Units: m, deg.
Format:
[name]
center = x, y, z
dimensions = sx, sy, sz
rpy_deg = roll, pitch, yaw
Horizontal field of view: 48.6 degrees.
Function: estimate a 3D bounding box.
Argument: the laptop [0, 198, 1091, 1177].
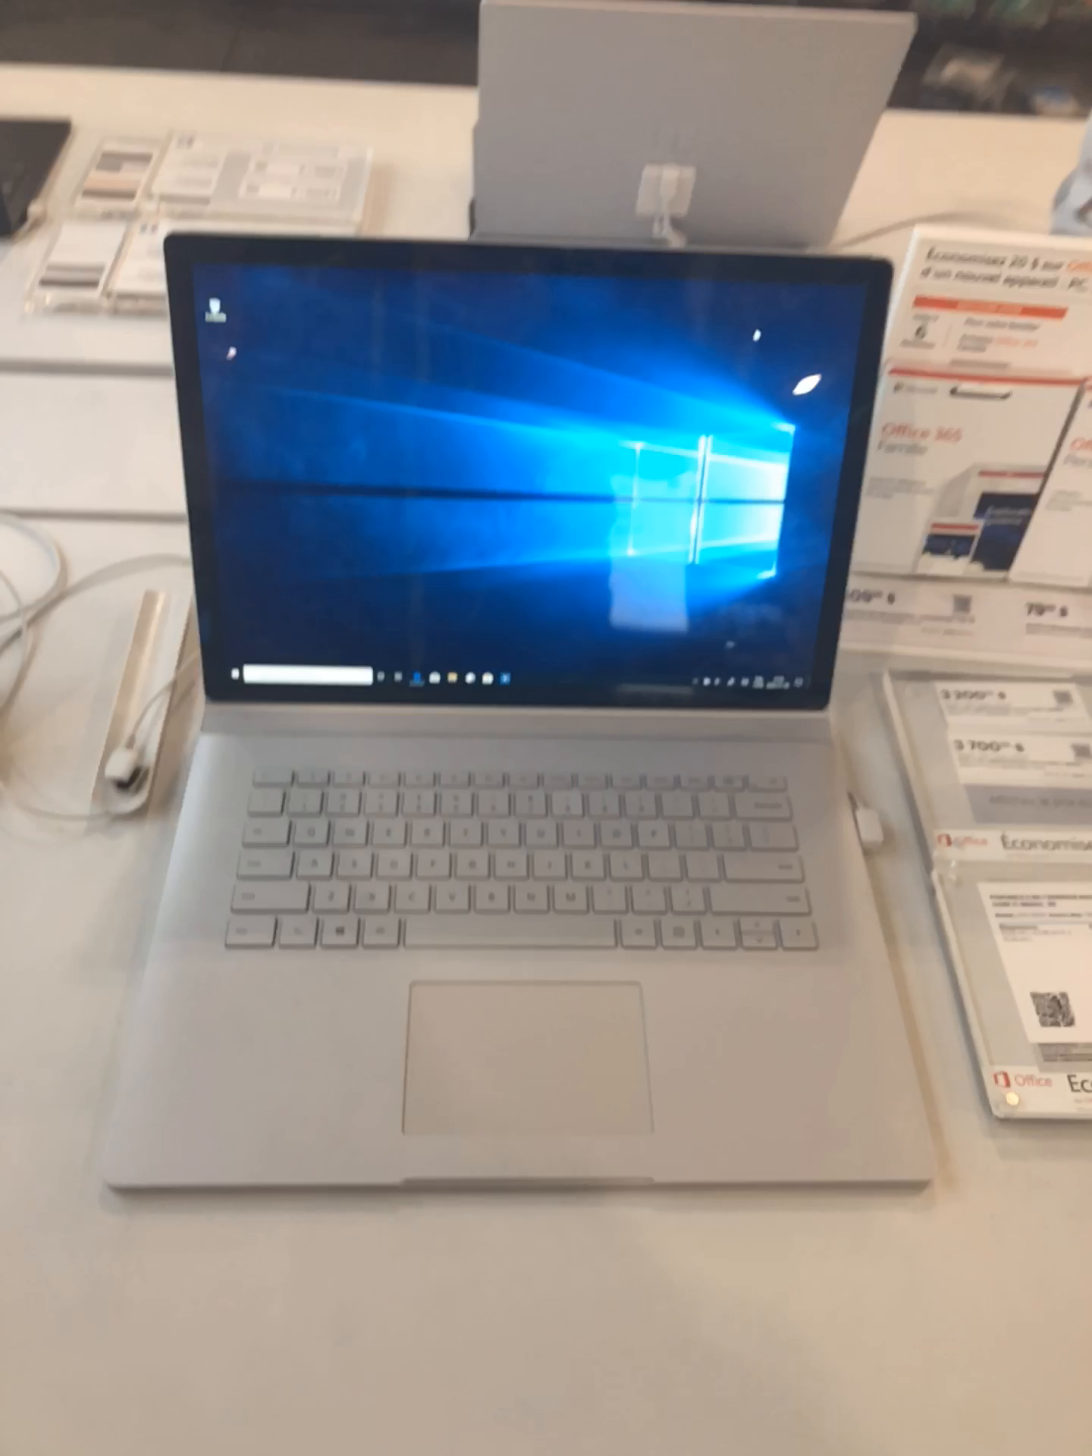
[laptop]
center = -0.008, -0.028, 0.535
dimensions = 0.338, 0.207, 0.366
rpy_deg = 1, 51, -4
